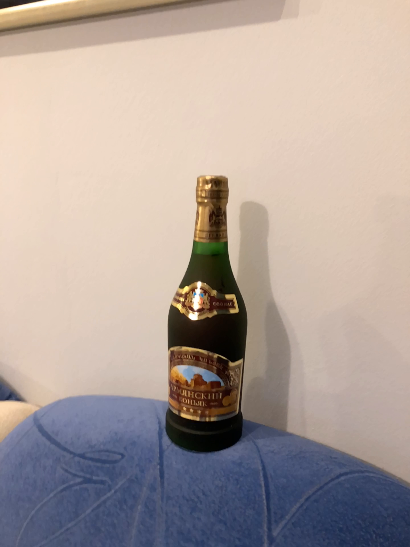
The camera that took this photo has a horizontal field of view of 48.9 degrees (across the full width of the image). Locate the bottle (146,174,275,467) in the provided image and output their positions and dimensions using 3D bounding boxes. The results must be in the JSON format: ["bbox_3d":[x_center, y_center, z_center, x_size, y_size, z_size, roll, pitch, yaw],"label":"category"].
[{"bbox_3d":[0.008,0.034,0.412,0.090,0.243,0.080,4,12,19],"label":"bottle"}]
